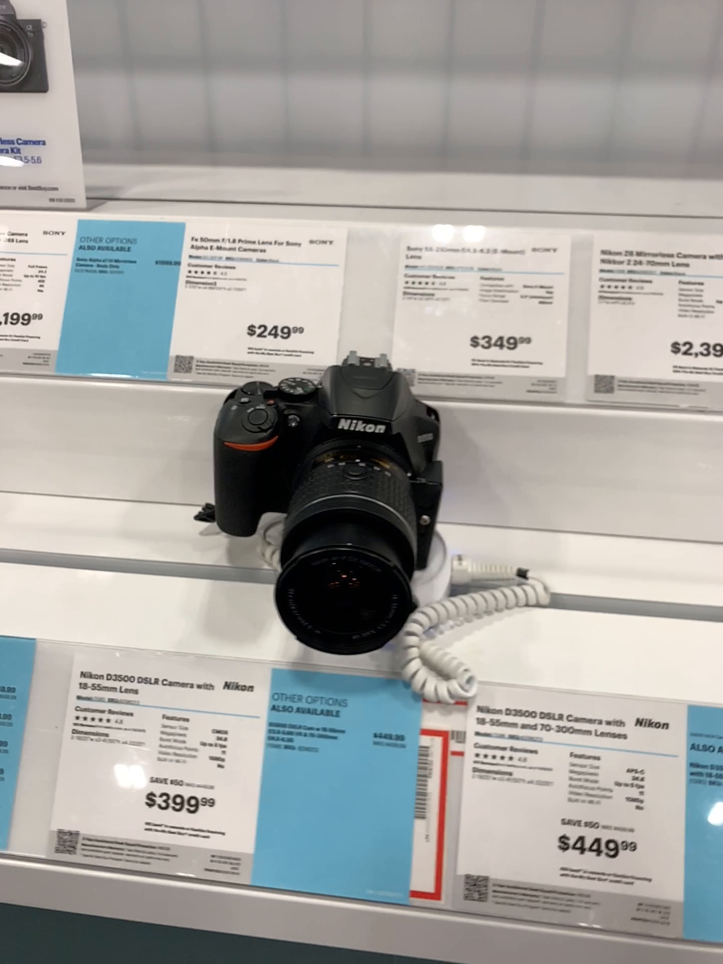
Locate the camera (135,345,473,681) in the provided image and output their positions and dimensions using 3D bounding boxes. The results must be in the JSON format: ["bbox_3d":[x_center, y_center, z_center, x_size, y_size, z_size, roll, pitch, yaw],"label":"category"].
[{"bbox_3d":[-0.019,0.006,0.377,0.130,0.099,0.151,1,30,2],"label":"camera"}]
